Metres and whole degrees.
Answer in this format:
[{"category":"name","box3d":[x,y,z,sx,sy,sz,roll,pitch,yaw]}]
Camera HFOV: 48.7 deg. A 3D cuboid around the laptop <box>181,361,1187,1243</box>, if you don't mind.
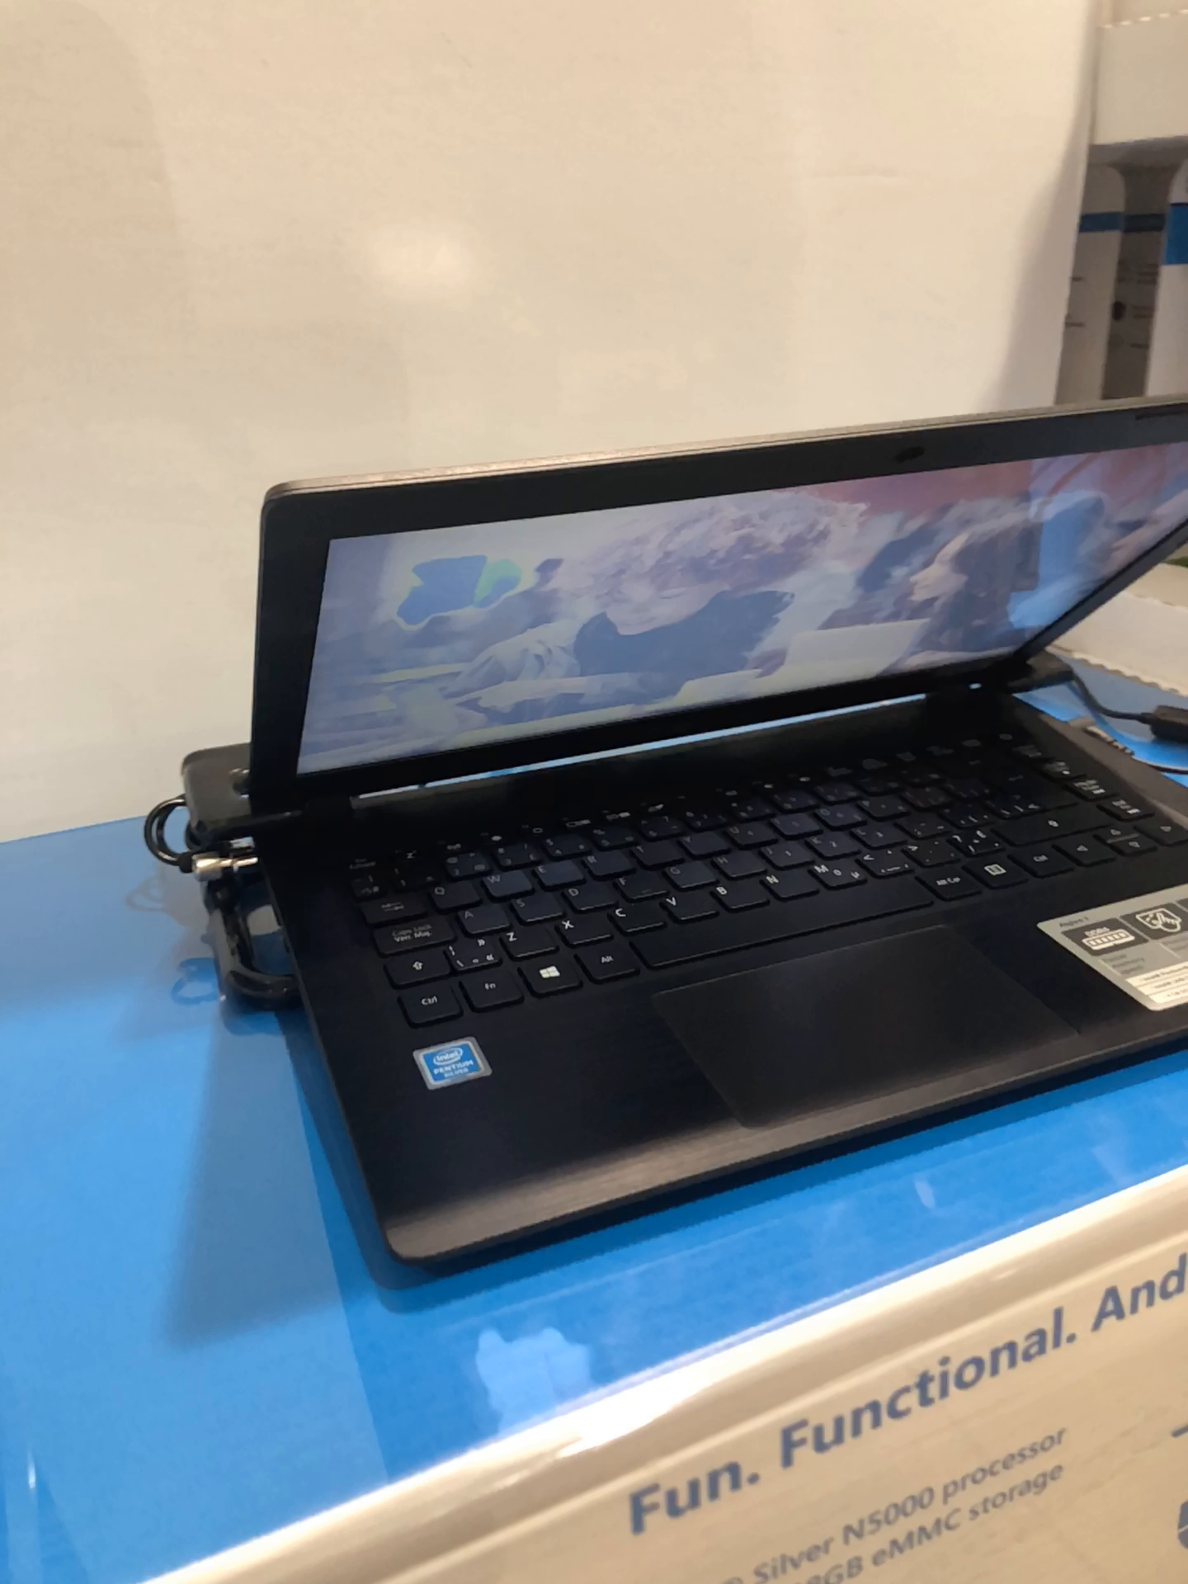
[{"category":"laptop","box3d":[0.064,-0.034,0.414,0.333,0.145,0.207,-11,26,-18]}]
